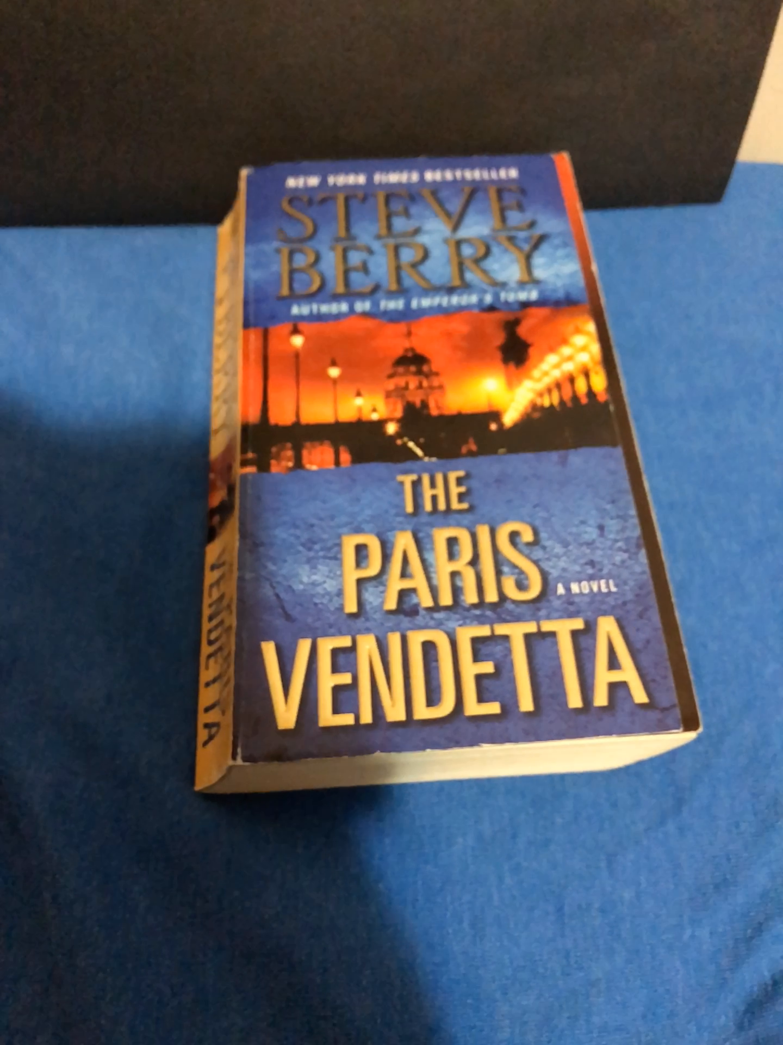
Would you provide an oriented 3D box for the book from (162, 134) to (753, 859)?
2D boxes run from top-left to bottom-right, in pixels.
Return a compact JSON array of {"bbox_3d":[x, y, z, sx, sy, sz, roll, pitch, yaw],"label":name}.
[{"bbox_3d":[0.004,-0.021,0.248,0.120,0.050,0.200,-2,60,-7],"label":"book"}]
